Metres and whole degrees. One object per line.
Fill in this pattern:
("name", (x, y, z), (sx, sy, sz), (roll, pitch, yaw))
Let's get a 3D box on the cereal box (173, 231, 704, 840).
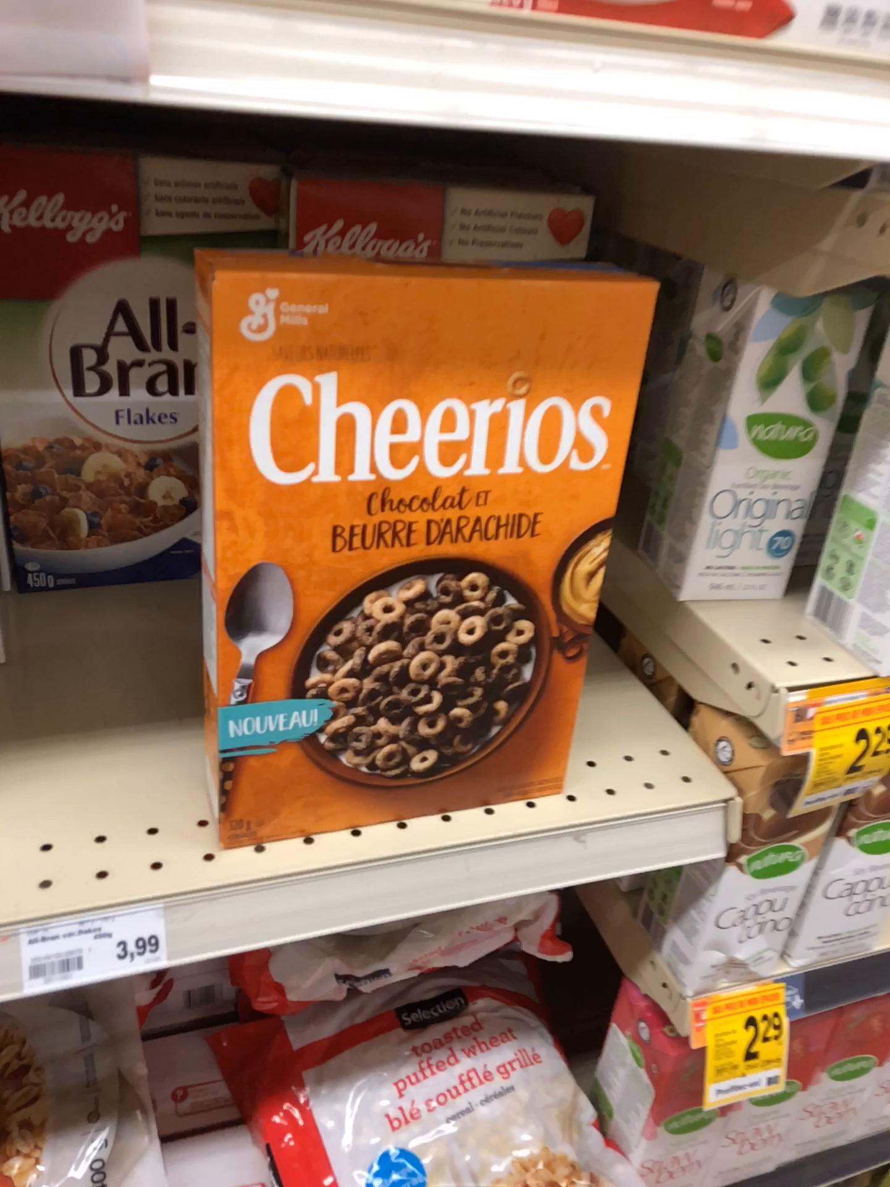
("cereal box", (-0.012, -0.020, 0.456), (0.210, 0.268, 0.050), (-5, 30, -19))
